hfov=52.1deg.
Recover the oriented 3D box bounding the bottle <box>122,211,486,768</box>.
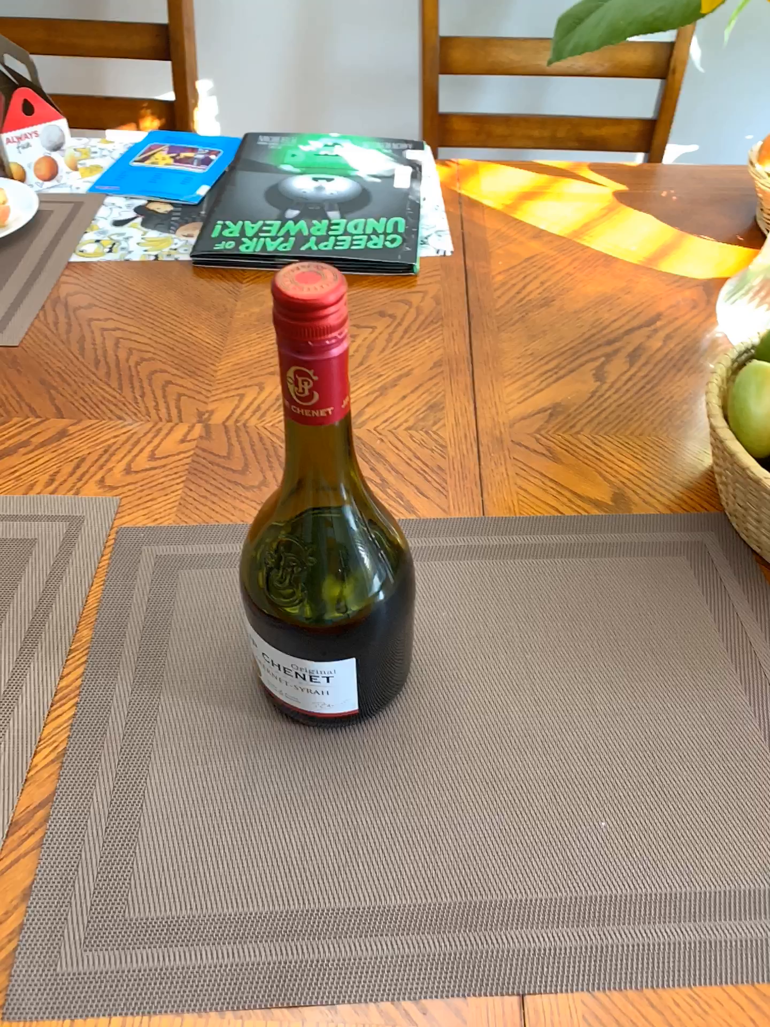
[{"bbox_3d":[-0.033,0.003,0.400,0.100,0.258,0.101,1,47,-1],"label":"bottle"}]
